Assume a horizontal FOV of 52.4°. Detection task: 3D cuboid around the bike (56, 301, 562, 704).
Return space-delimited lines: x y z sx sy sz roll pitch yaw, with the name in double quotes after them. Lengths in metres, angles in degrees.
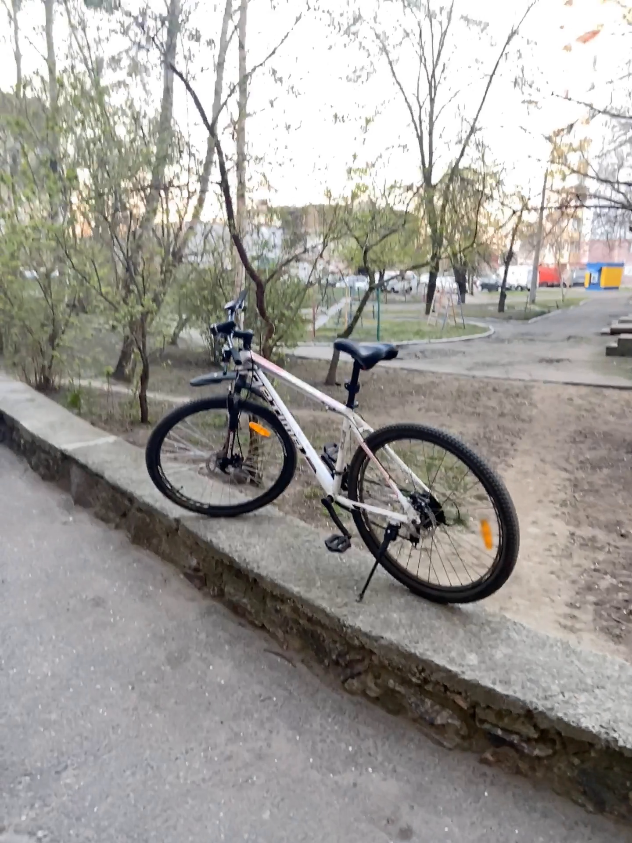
-0.111 0.146 2.507 1.750 1.147 0.680 6 14 33 "bike"
